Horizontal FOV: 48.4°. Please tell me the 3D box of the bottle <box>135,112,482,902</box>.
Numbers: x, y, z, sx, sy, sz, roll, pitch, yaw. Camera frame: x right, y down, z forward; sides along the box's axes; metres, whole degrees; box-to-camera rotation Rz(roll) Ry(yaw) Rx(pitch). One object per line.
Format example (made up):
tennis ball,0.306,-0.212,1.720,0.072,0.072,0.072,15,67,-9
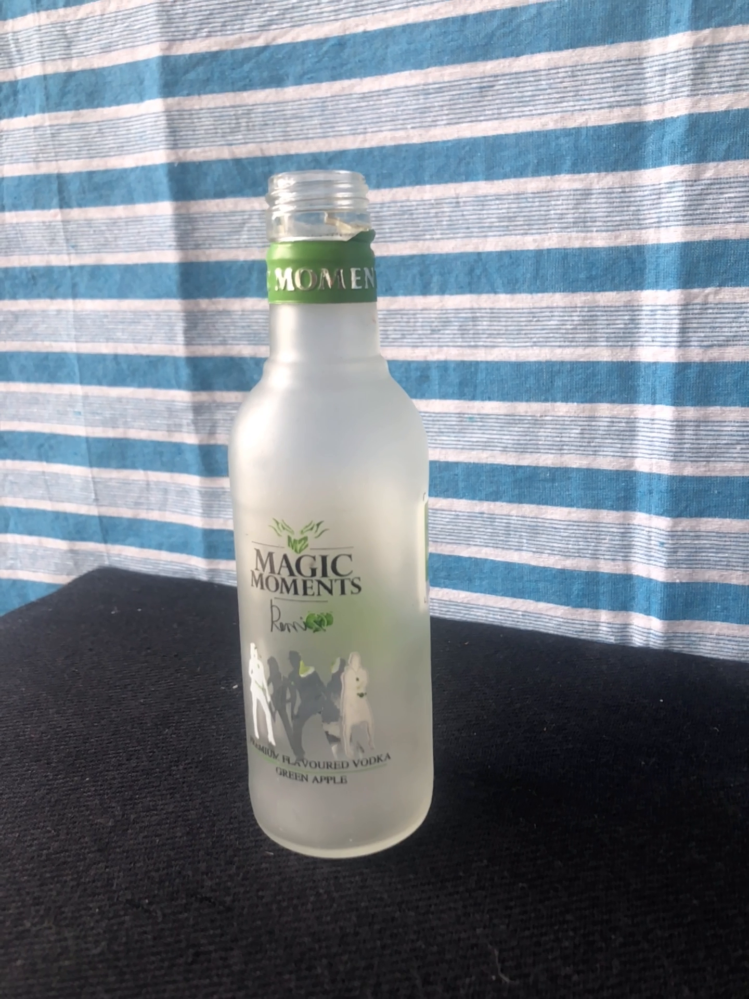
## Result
bottle,-0.008,0.002,0.182,0.050,0.149,0.050,-1,16,0
